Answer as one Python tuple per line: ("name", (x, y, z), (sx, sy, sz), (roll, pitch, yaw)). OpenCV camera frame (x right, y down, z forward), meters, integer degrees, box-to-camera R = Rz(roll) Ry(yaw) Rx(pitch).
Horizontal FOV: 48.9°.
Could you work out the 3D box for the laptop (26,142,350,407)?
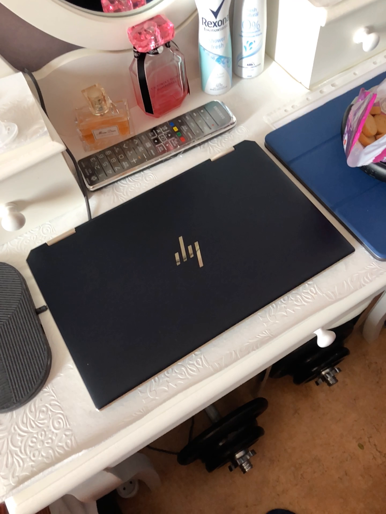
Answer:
("laptop", (-0.001, -0.004, 0.408), (0.267, 0.007, 0.160), (-29, 67, -17))
